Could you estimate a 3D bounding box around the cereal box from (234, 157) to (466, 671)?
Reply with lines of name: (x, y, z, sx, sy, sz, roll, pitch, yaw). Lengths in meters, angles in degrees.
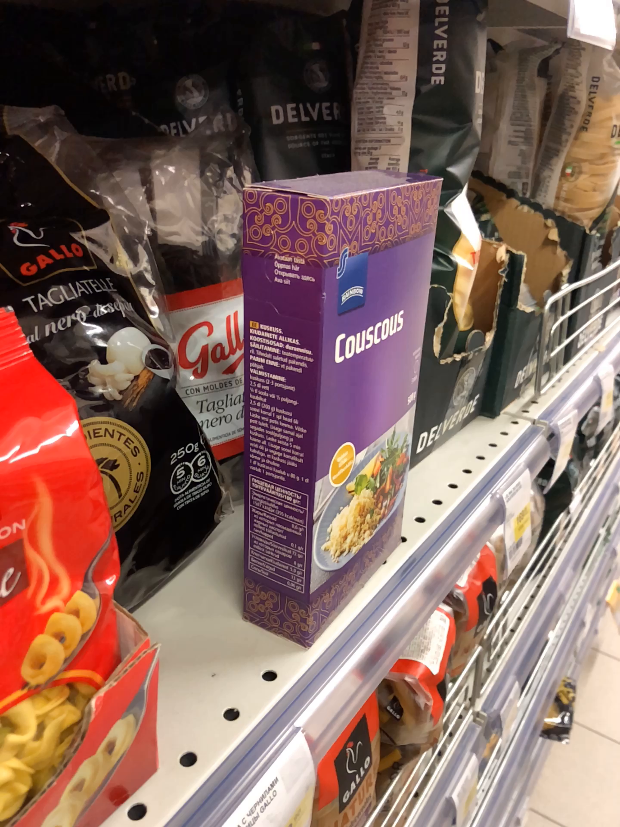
cereal box: (0.017, -0.004, 0.305, 0.040, 0.199, 0.110, 17, 27, 28)
